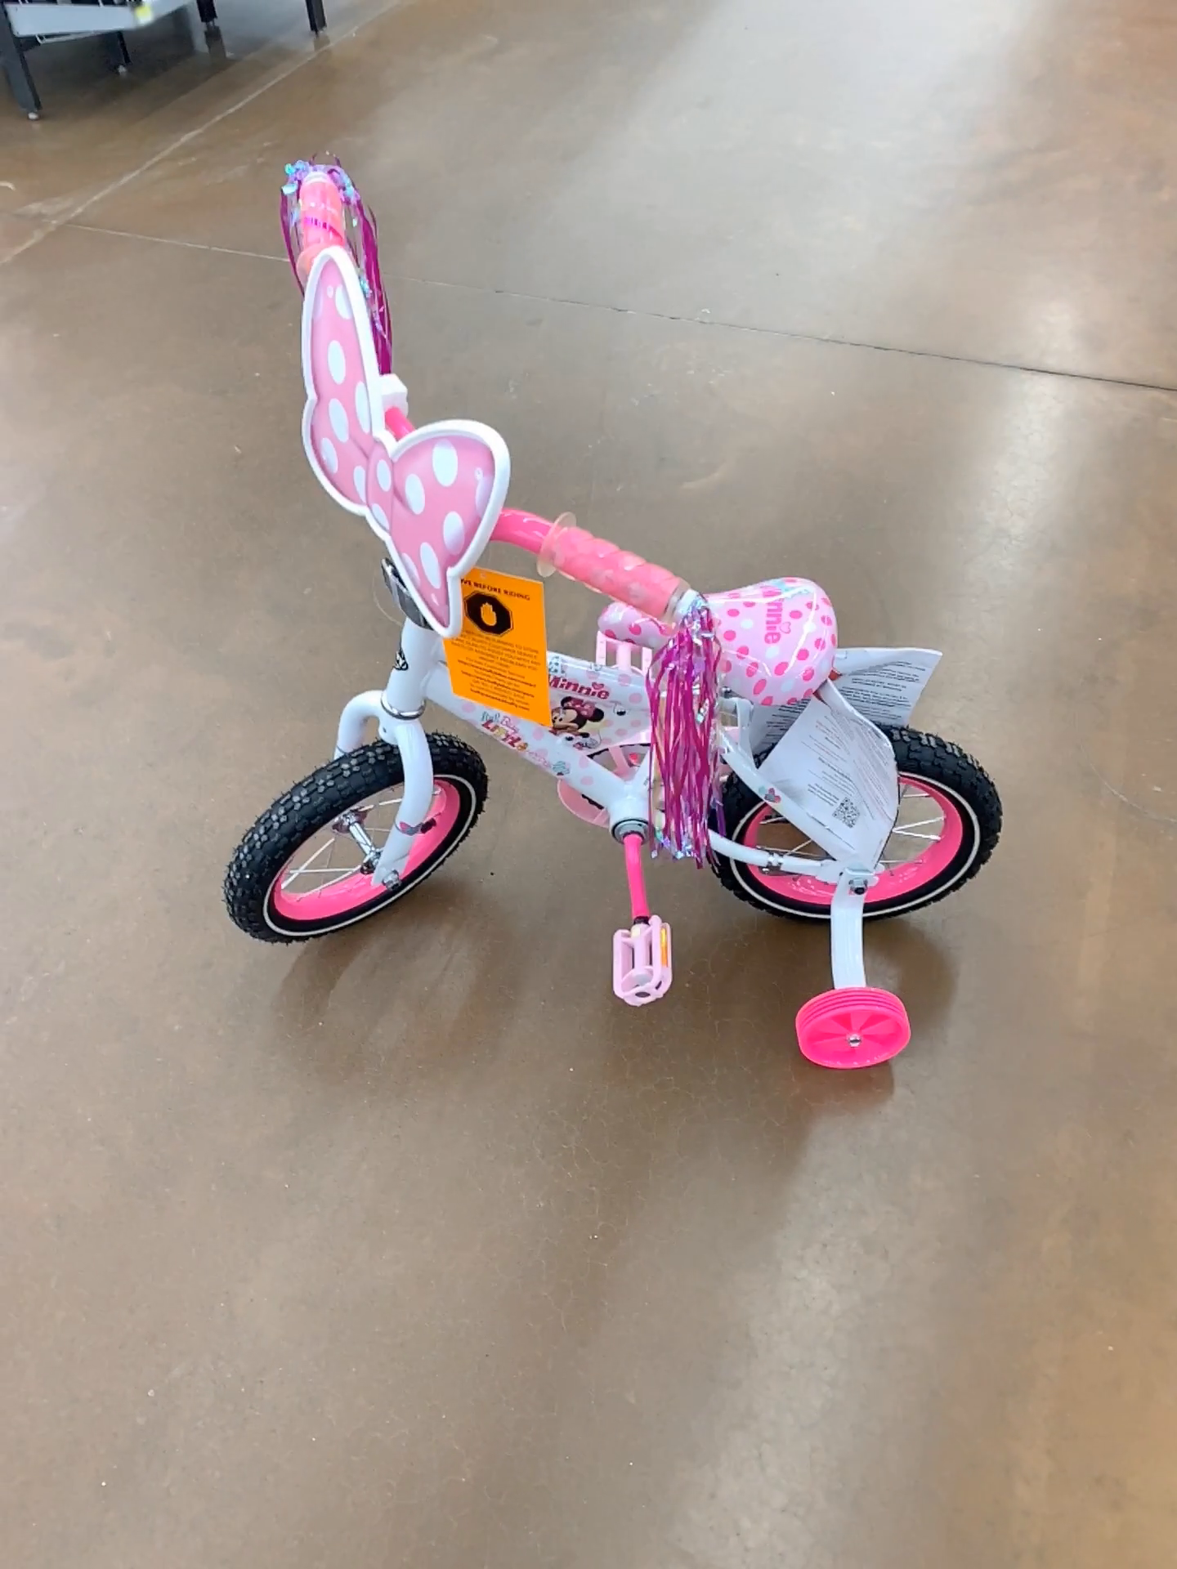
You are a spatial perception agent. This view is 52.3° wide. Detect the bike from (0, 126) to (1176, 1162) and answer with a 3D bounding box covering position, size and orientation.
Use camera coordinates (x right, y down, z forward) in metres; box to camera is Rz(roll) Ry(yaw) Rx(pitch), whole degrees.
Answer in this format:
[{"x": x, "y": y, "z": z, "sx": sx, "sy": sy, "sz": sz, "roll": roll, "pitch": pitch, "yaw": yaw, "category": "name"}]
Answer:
[{"x": 0.014, "y": -0.066, "z": 1.077, "sx": 0.776, "sy": 0.707, "sz": 0.429, "roll": -7, "pitch": 47, "yaw": 1, "category": "bike"}]
